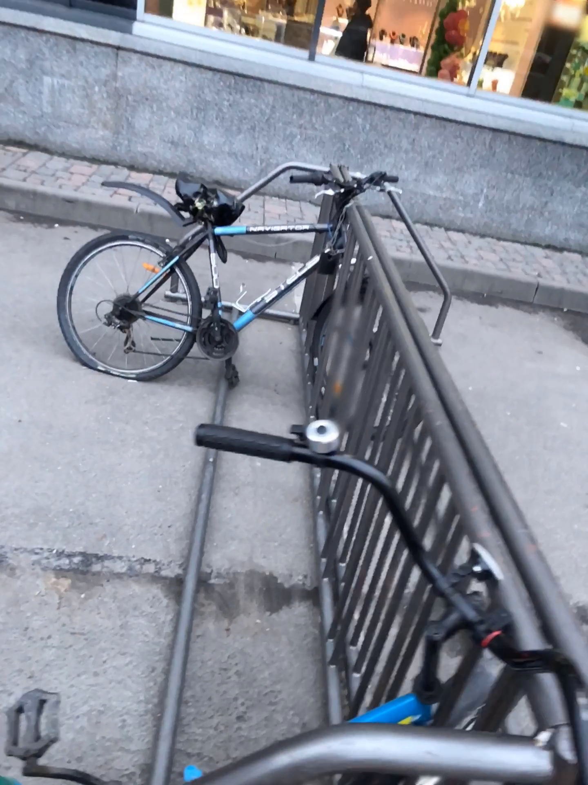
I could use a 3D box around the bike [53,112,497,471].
[{"bbox_3d":[-0.163,-0.470,2.632,1.584,1.050,0.537,16,28,14],"label":"bike"}]
